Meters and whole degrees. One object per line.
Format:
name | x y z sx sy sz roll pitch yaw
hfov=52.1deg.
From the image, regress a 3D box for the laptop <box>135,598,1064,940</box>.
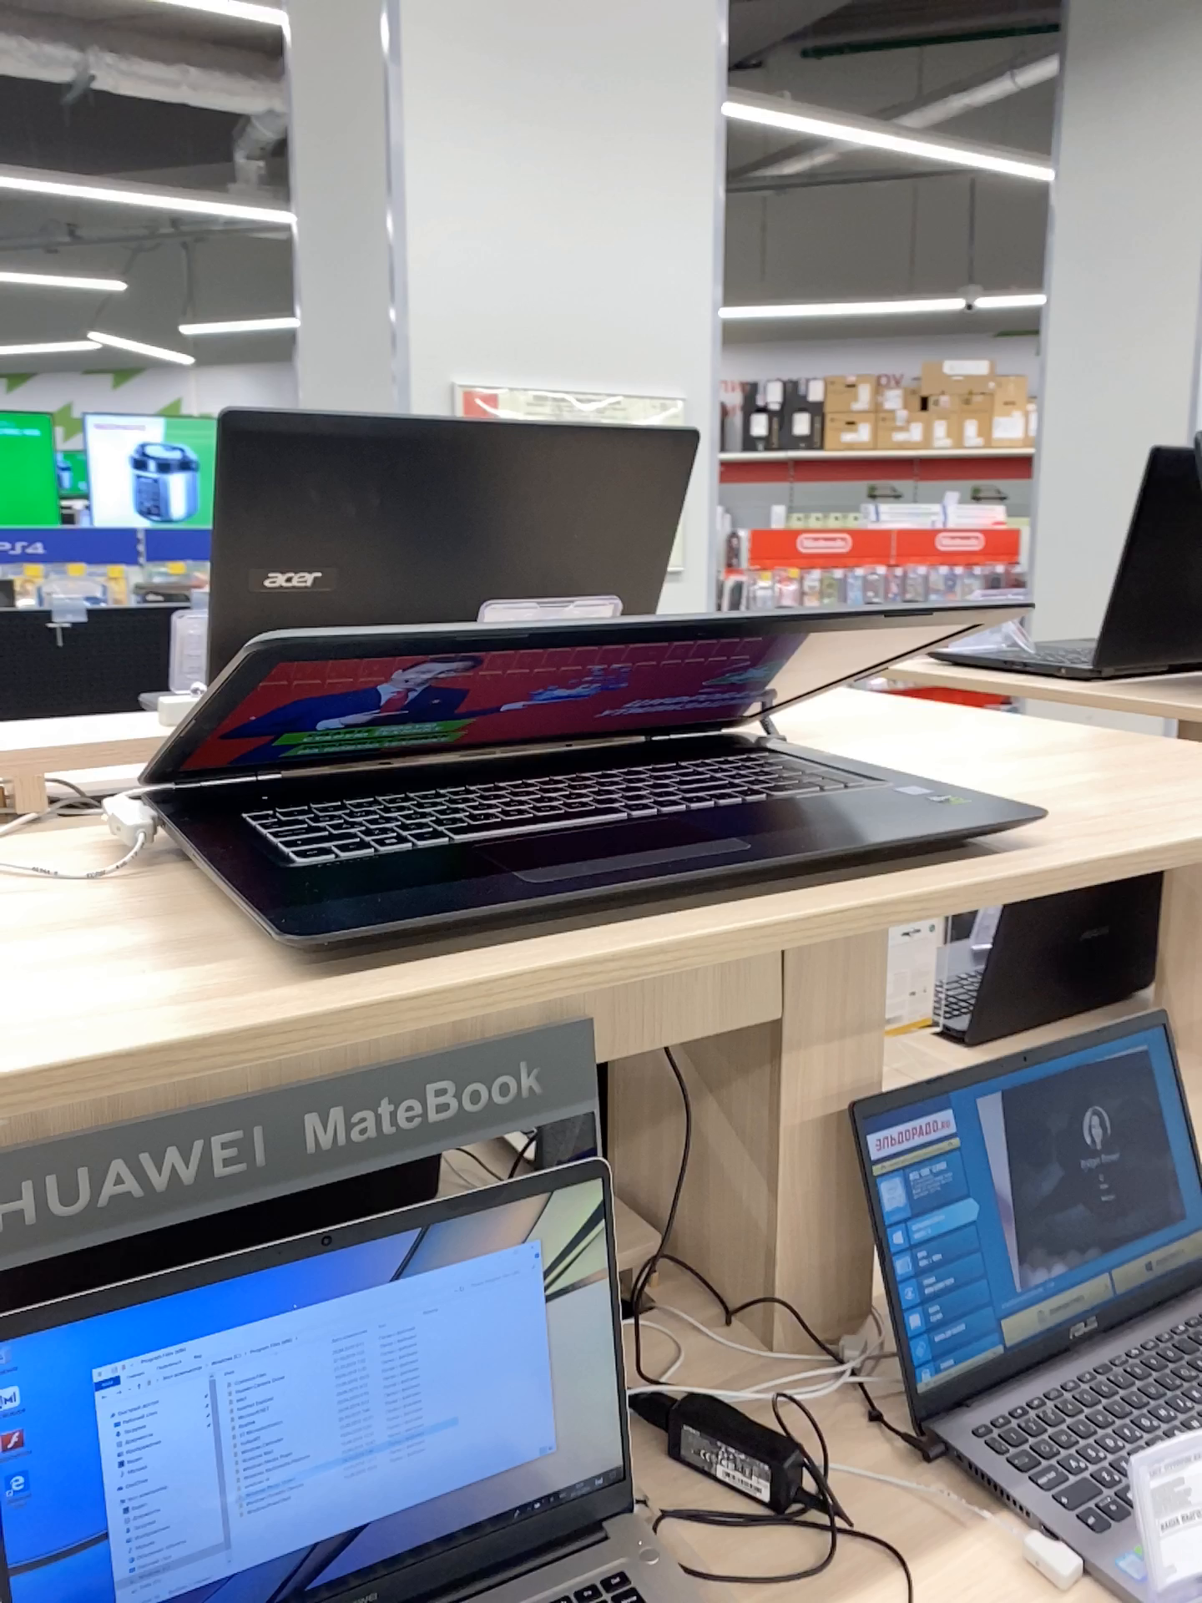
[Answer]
laptop | -0.006 -0.046 0.662 0.414 0.095 0.269 -7 16 -29
